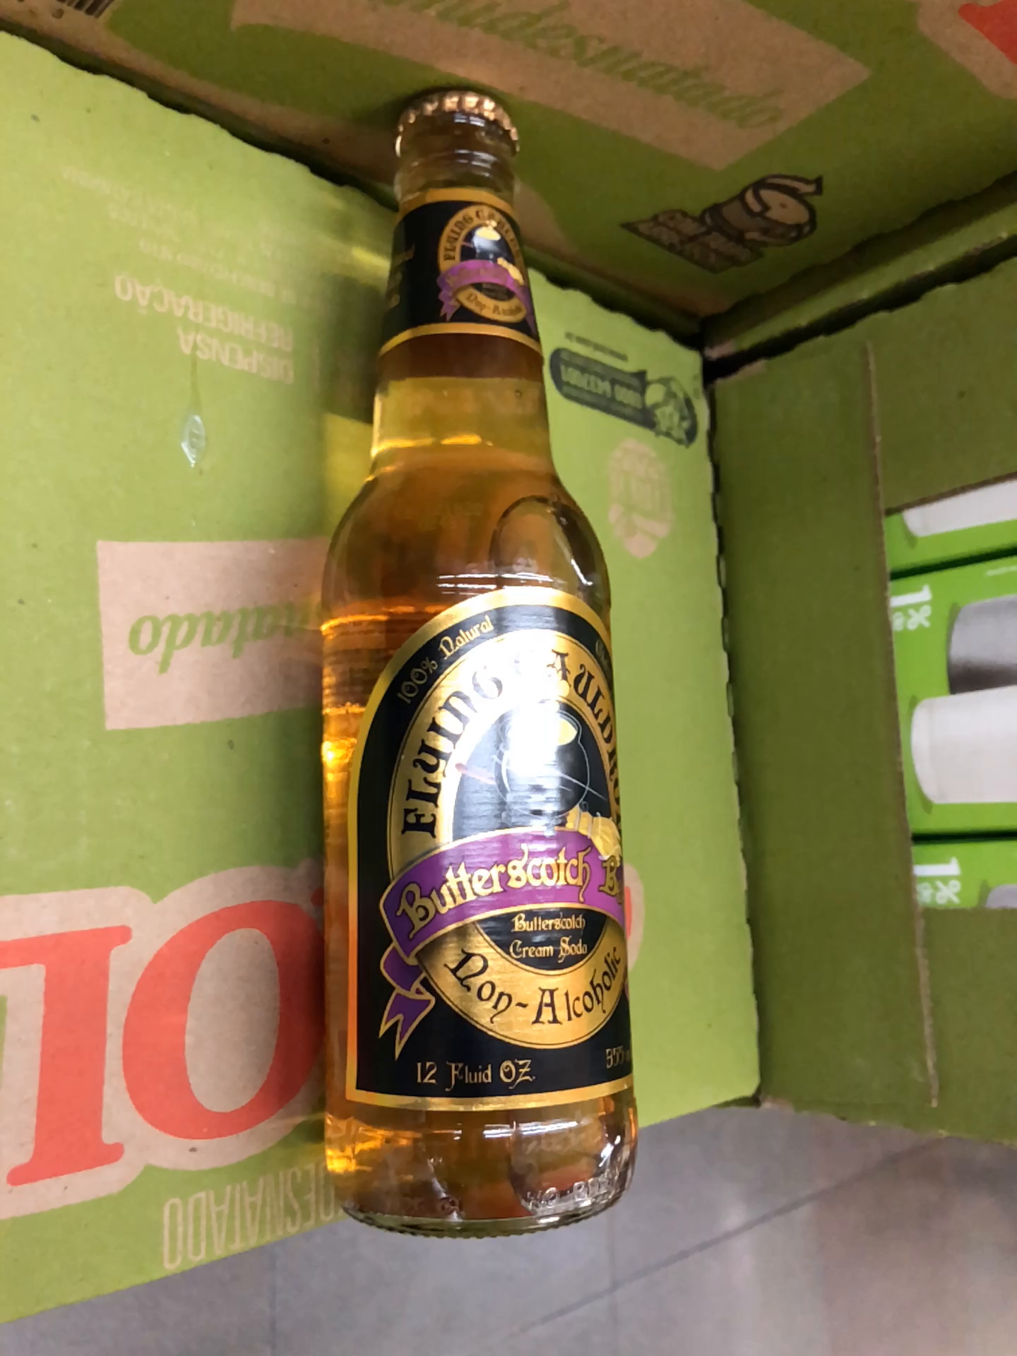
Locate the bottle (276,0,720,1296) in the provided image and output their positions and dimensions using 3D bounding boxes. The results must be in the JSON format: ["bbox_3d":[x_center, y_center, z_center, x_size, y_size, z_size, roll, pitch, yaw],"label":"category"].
[{"bbox_3d":[-0.005,-0.024,0.243,0.070,0.050,0.260,6,78,-45],"label":"bottle"}]
